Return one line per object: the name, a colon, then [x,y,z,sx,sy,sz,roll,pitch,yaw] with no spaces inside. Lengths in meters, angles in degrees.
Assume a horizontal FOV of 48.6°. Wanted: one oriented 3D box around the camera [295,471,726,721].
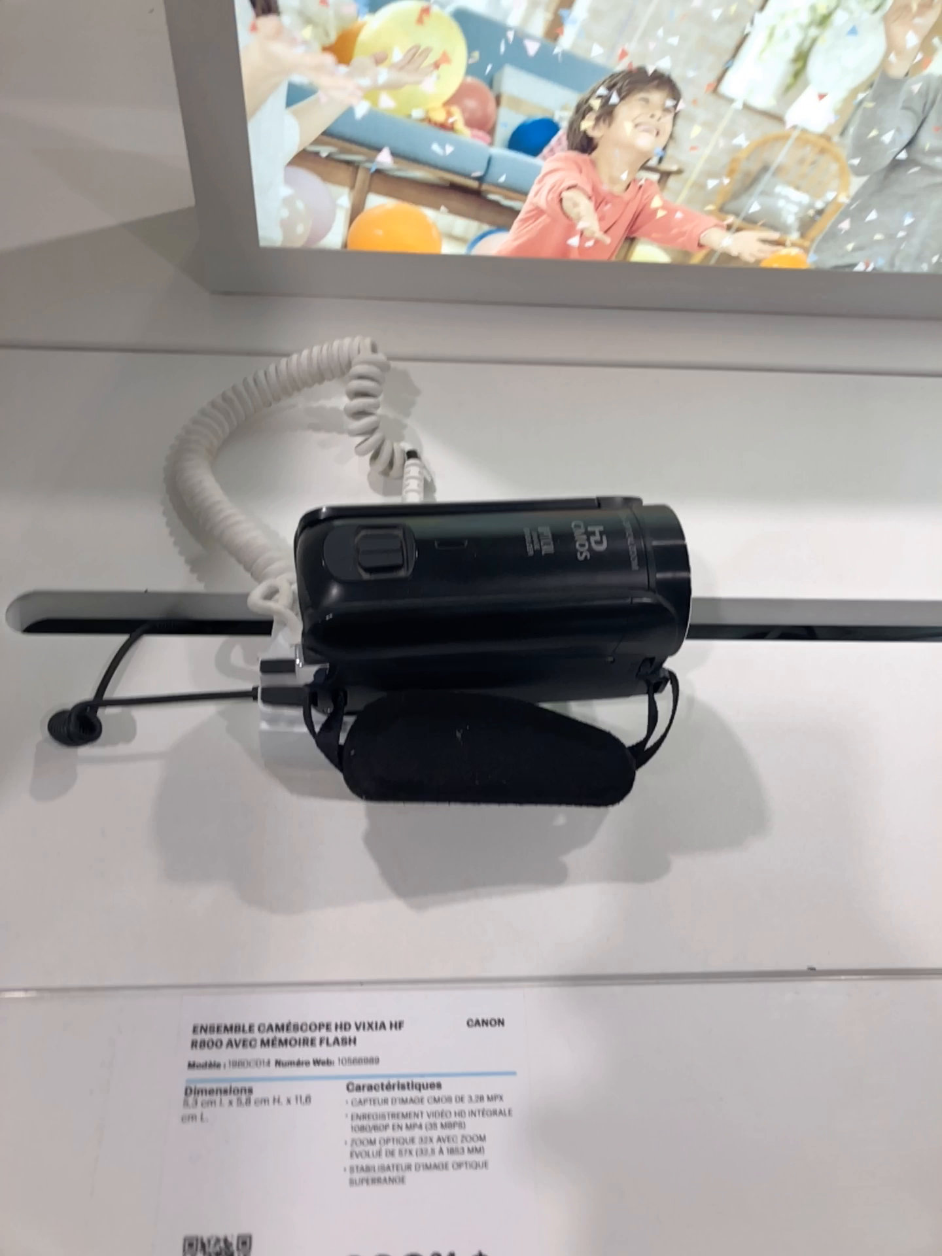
camera: [0.007,-0.009,0.304,0.113,0.050,0.050,-2,55,-7]
